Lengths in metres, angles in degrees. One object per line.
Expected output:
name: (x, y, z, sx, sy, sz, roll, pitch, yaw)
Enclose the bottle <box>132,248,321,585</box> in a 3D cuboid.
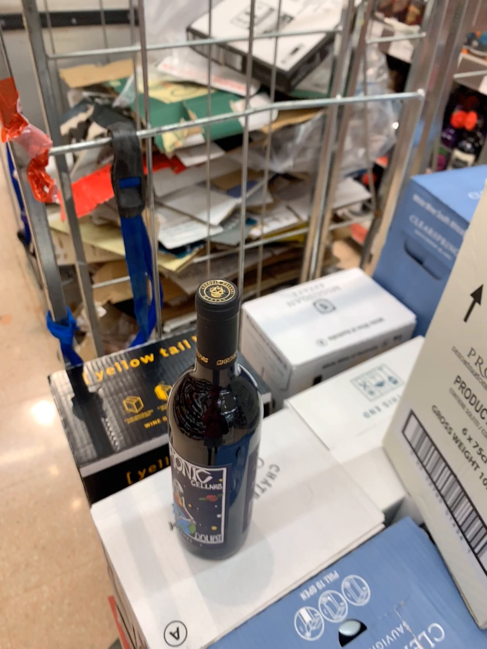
bottle: (-0.021, 0.091, 0.409, 0.085, 0.284, 0.086, 3, 41, -3)
